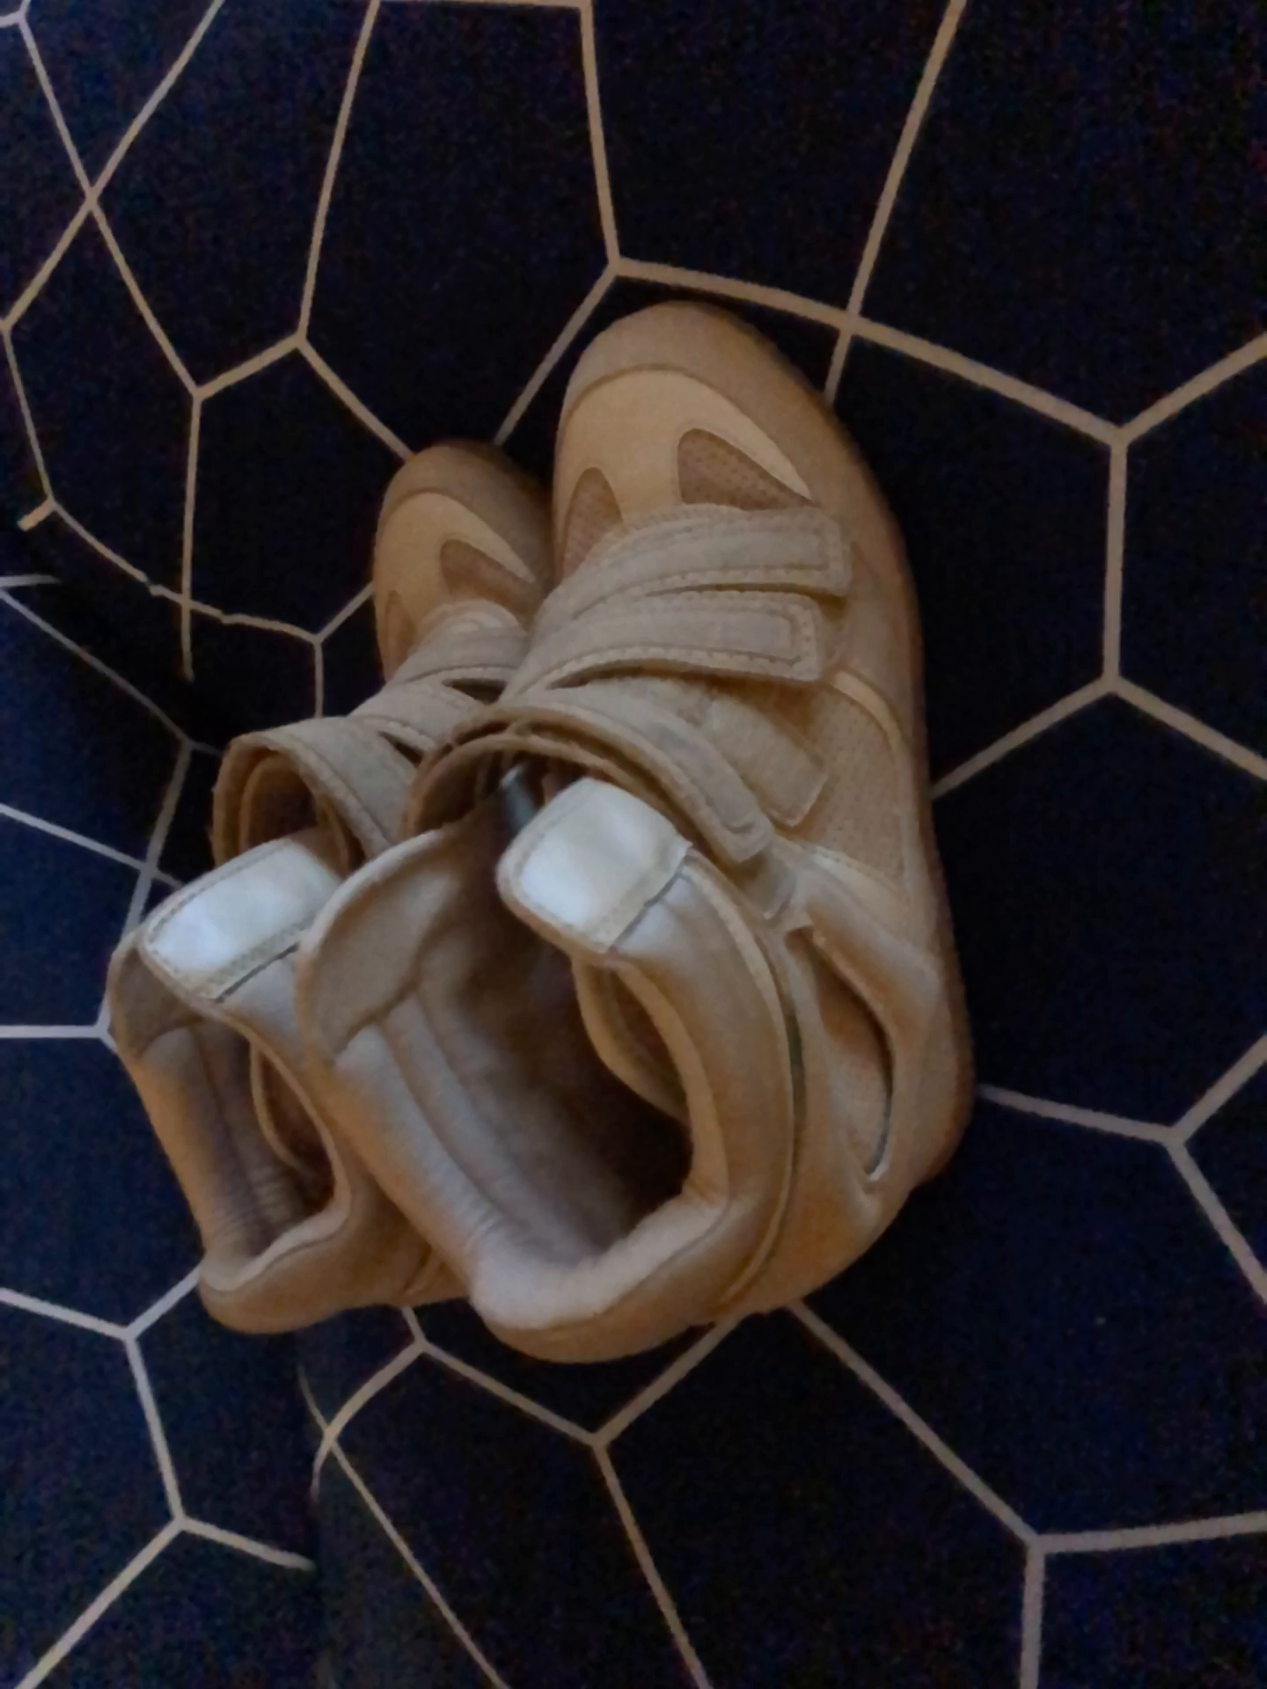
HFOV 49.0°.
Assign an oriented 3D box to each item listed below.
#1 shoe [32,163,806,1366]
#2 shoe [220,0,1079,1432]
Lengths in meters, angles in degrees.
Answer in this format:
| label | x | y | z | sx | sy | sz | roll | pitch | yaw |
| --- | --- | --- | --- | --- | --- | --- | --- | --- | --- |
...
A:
| label | x | y | z | sx | sy | sz | roll | pitch | yaw |
| --- | --- | --- | --- | --- | --- | --- | --- | --- | --- |
| shoe | -0.061 | -0.014 | 0.373 | 0.100 | 0.139 | 0.260 | -23 | 70 | 34 |
| shoe | -0.001 | -0.029 | 0.318 | 0.100 | 0.129 | 0.280 | -19 | 72 | 35 |
